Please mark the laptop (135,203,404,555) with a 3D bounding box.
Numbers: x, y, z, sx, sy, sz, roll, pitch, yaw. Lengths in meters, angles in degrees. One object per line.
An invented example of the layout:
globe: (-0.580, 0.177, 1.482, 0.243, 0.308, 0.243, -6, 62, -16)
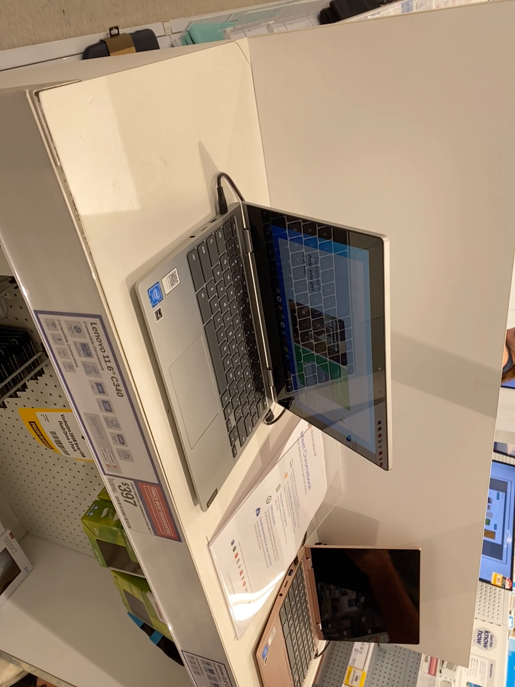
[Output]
laptop: (0.041, 0.026, 0.556, 0.201, 0.180, 0.284, -52, 141, -48)
